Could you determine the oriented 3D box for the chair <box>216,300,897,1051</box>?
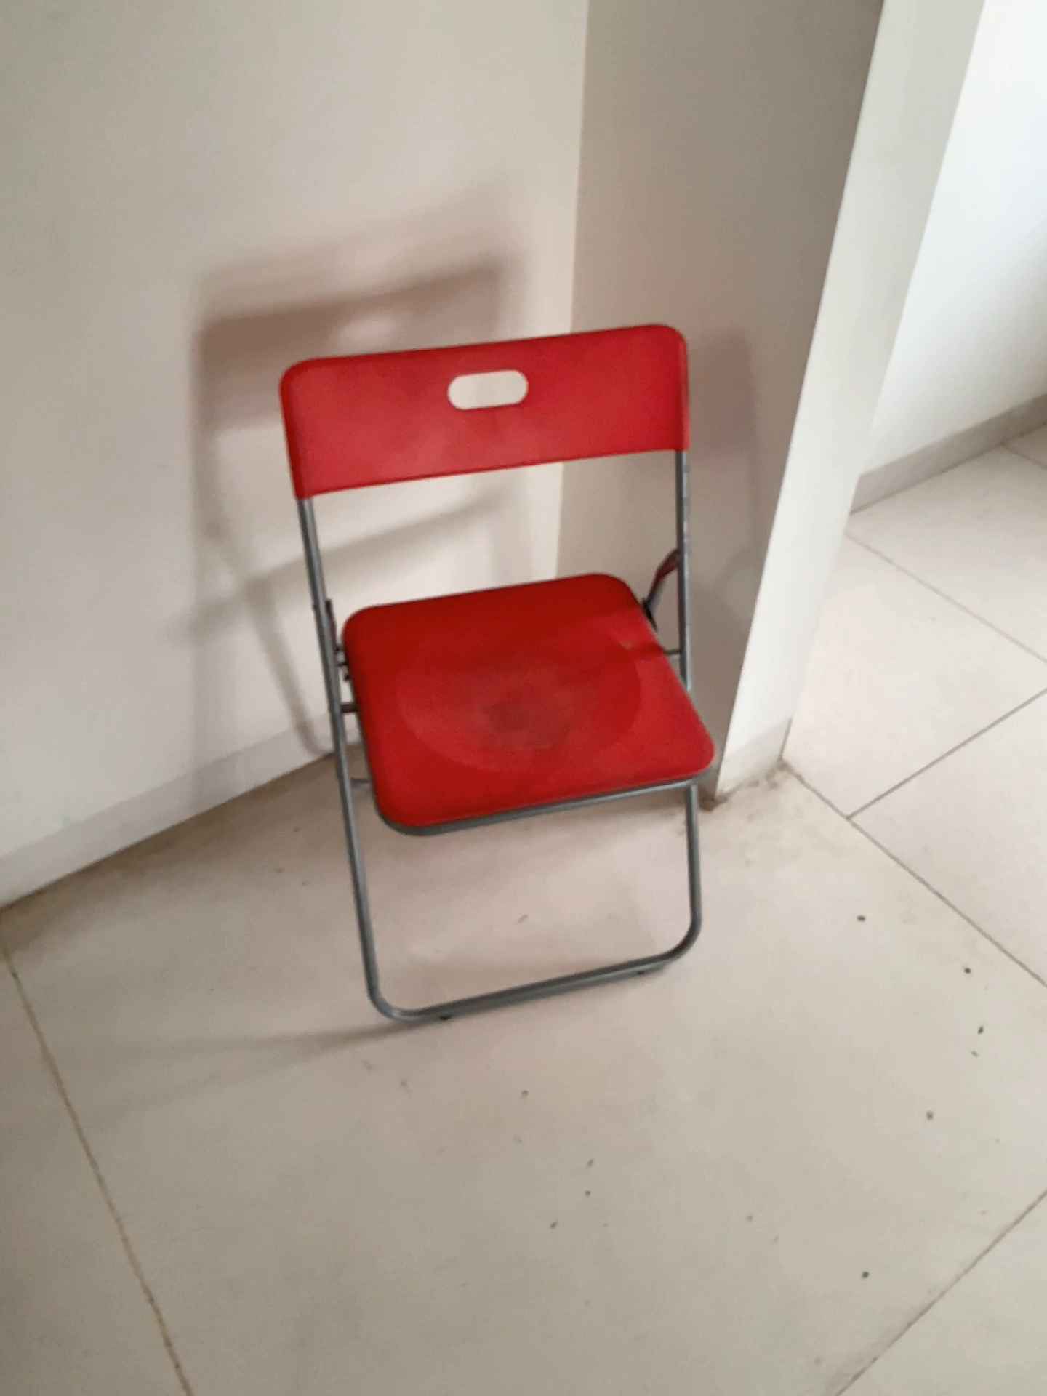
[{"bbox_3d":[-0.012,-0.033,1.243,0.530,0.608,0.502,-10,45,-12],"label":"chair"}]
